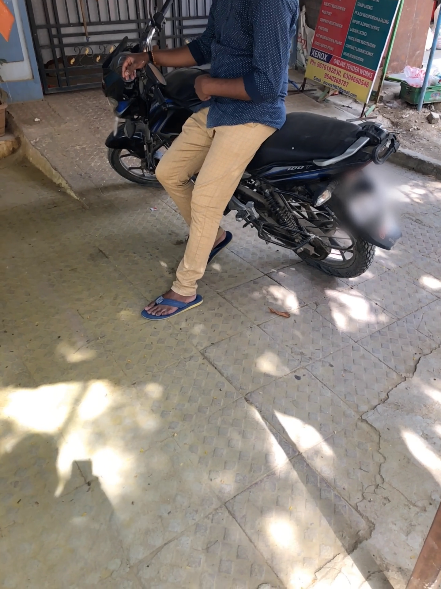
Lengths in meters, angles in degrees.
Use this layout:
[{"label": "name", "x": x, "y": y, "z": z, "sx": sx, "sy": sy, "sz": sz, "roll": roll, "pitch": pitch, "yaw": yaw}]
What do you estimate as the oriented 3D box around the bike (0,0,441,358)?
[{"label": "bike", "x": -0.101, "y": -0.731, "z": 2.293, "sx": 1.745, "sy": 1.174, "sz": 0.787, "roll": 26, "pitch": 42, "yaw": 34}]
